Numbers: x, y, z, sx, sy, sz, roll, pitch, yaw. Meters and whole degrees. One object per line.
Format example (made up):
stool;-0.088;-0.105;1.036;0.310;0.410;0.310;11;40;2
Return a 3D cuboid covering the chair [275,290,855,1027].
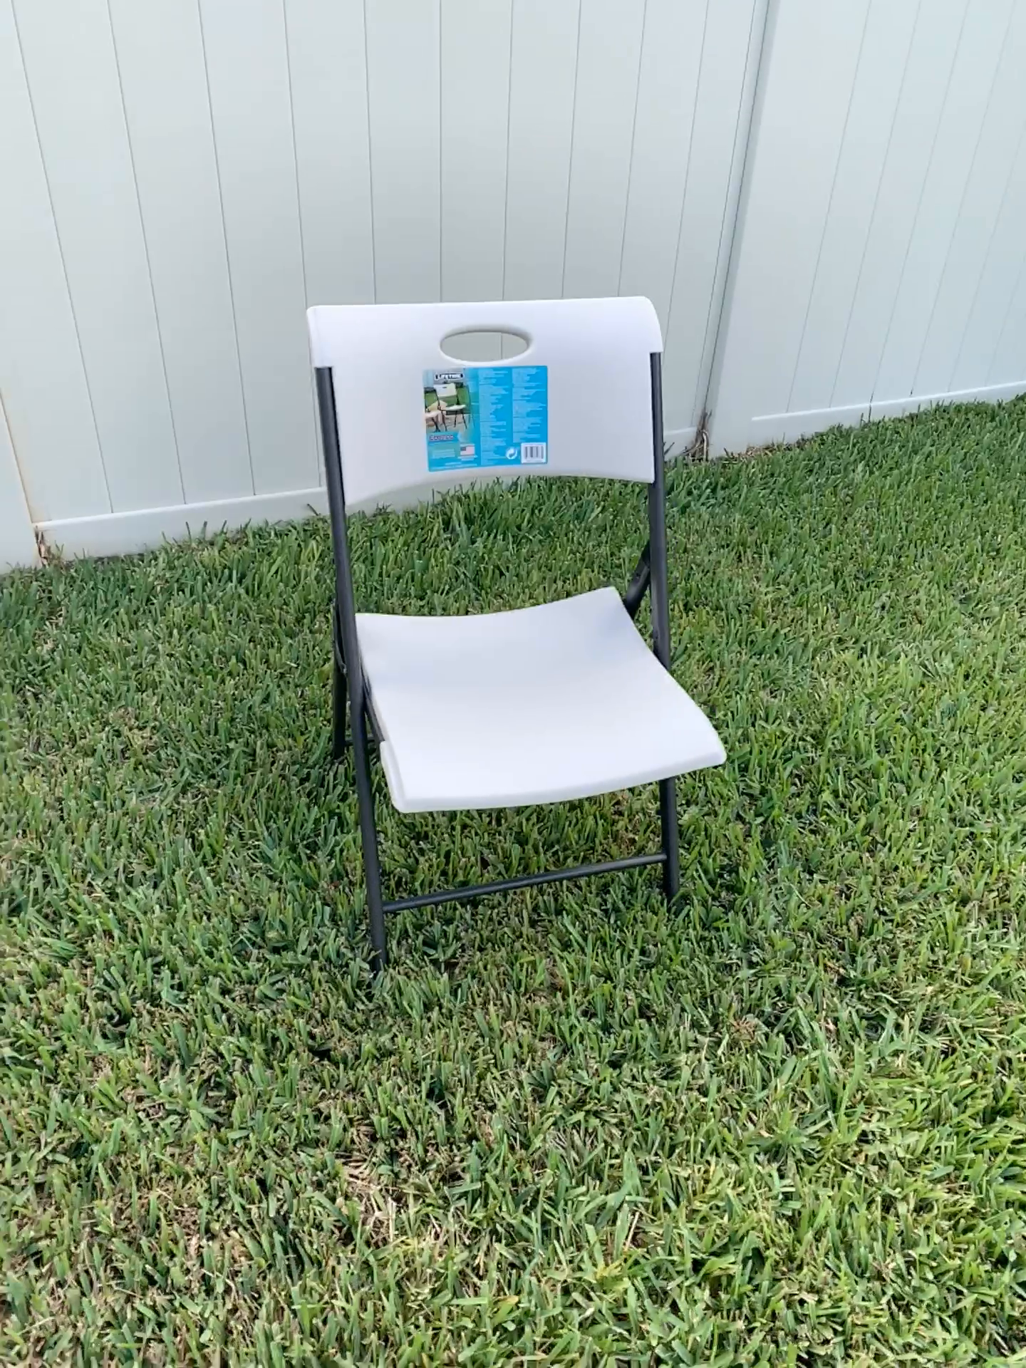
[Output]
chair;0.002;-0.055;1.384;0.519;0.766;0.519;-7;35;-15
